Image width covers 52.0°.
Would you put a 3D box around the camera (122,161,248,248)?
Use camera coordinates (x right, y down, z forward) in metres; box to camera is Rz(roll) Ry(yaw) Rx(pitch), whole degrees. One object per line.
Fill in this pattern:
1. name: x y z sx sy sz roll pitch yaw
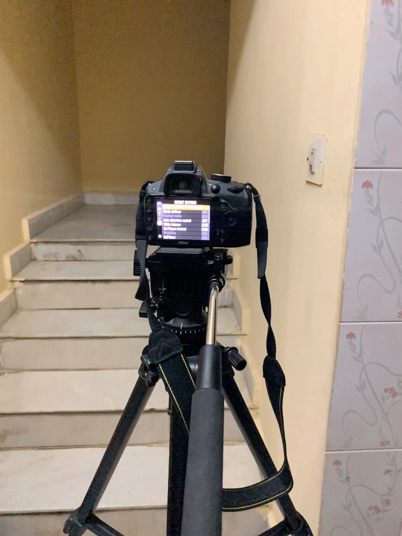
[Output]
1. camera: -0.014 -0.084 0.508 0.134 0.090 0.130 2 15 4
